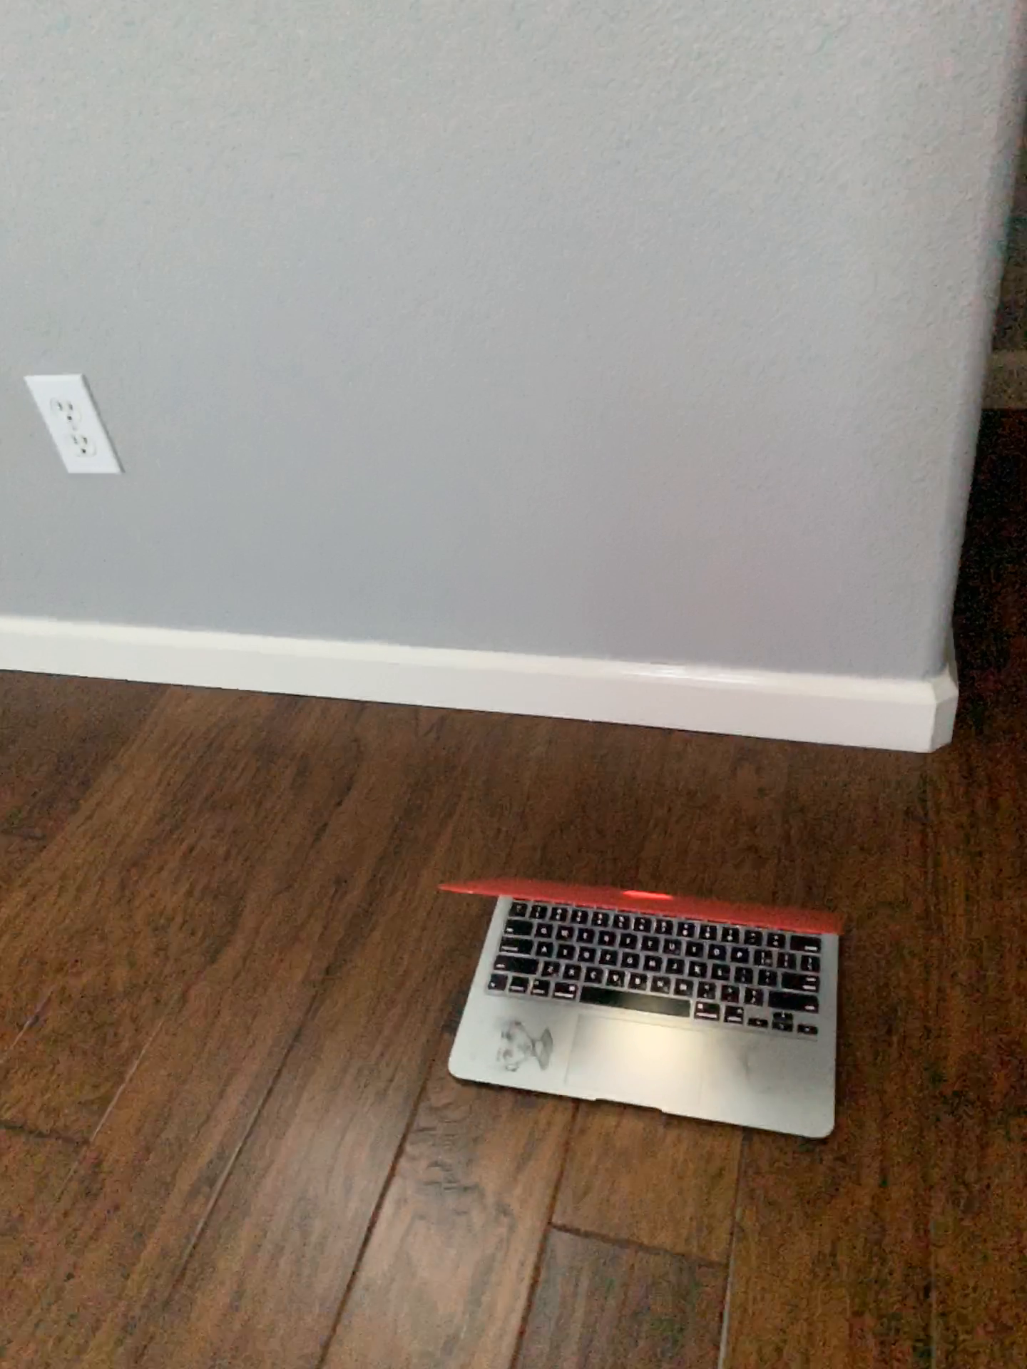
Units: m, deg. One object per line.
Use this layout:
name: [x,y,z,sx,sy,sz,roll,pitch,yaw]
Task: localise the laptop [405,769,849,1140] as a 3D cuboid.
laptop: [0.101,0.200,0.820,0.301,0.139,0.199,3,41,16]
